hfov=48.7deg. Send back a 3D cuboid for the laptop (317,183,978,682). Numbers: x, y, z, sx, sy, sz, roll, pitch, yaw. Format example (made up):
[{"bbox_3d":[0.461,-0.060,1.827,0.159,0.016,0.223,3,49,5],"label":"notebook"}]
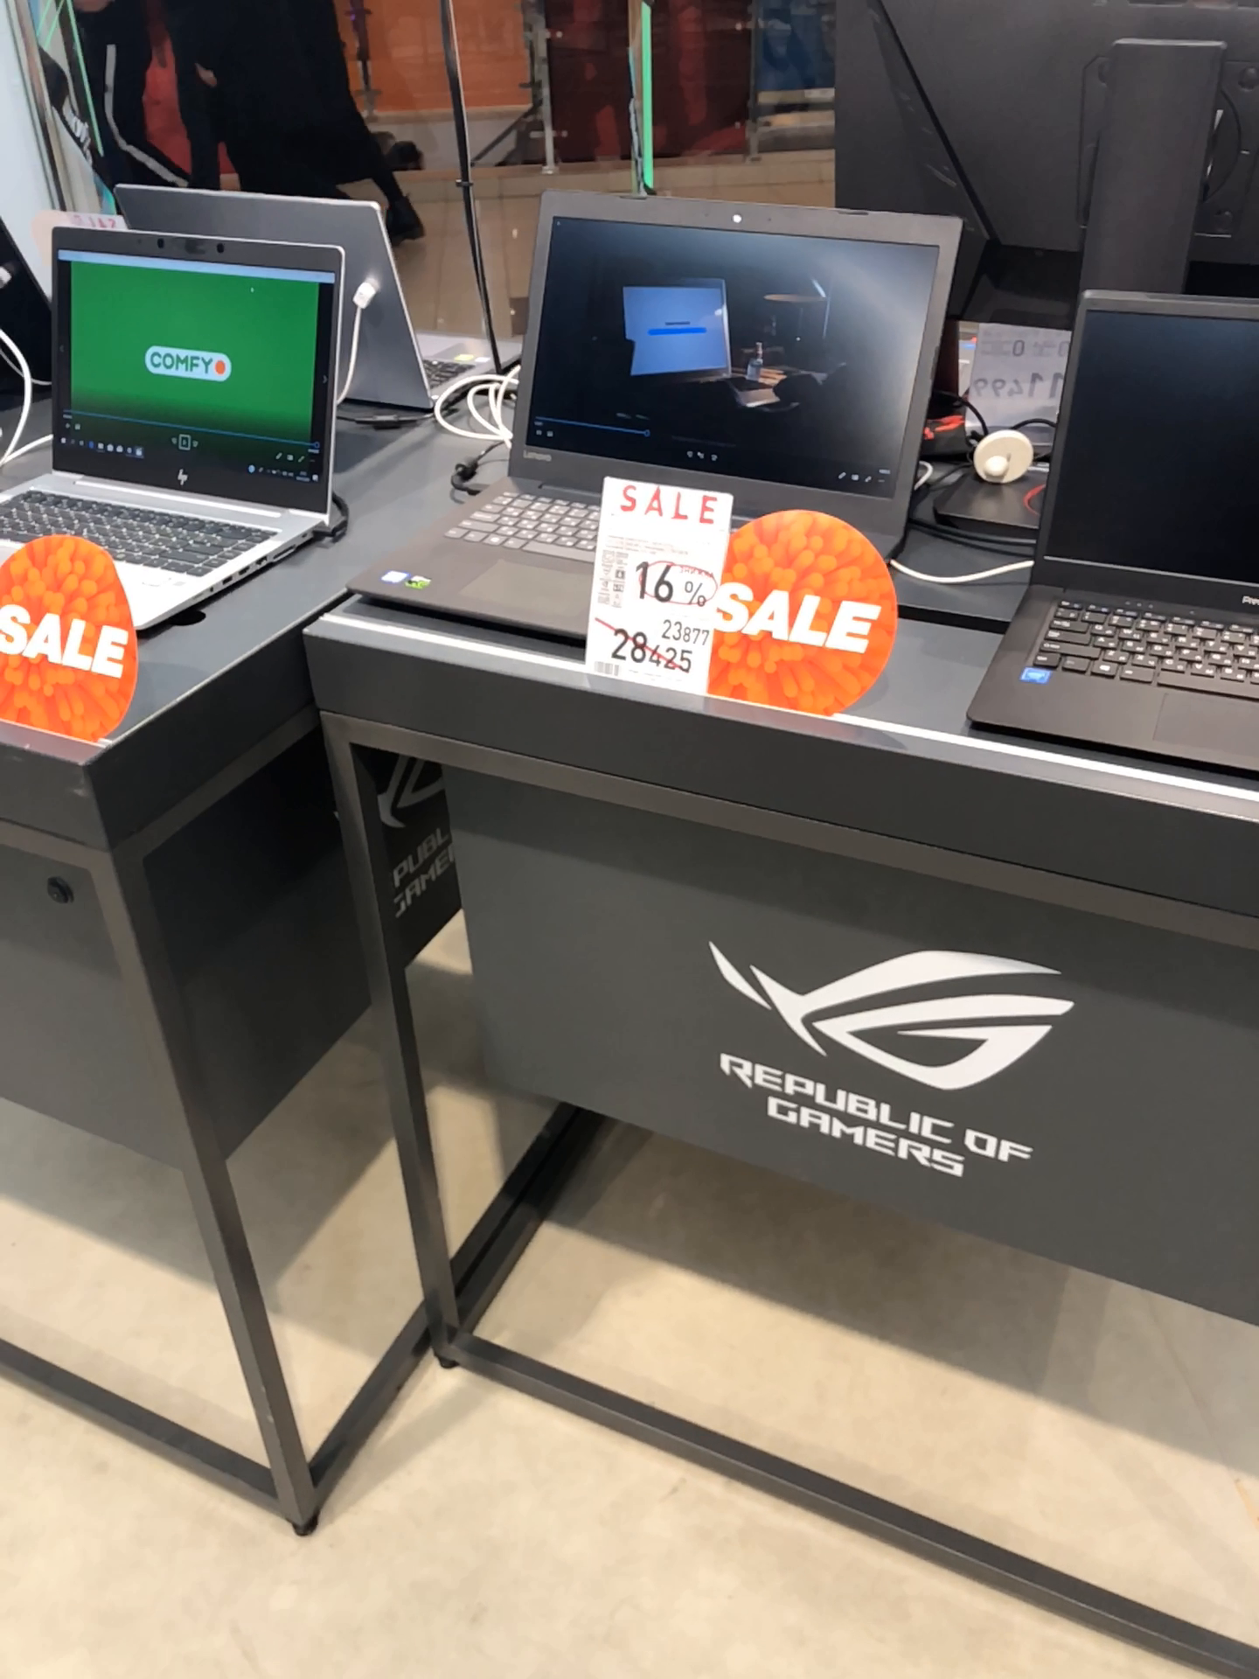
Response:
[{"bbox_3d":[0.027,-0.345,1.099,0.382,0.235,0.336,15,39,23],"label":"laptop"}]
